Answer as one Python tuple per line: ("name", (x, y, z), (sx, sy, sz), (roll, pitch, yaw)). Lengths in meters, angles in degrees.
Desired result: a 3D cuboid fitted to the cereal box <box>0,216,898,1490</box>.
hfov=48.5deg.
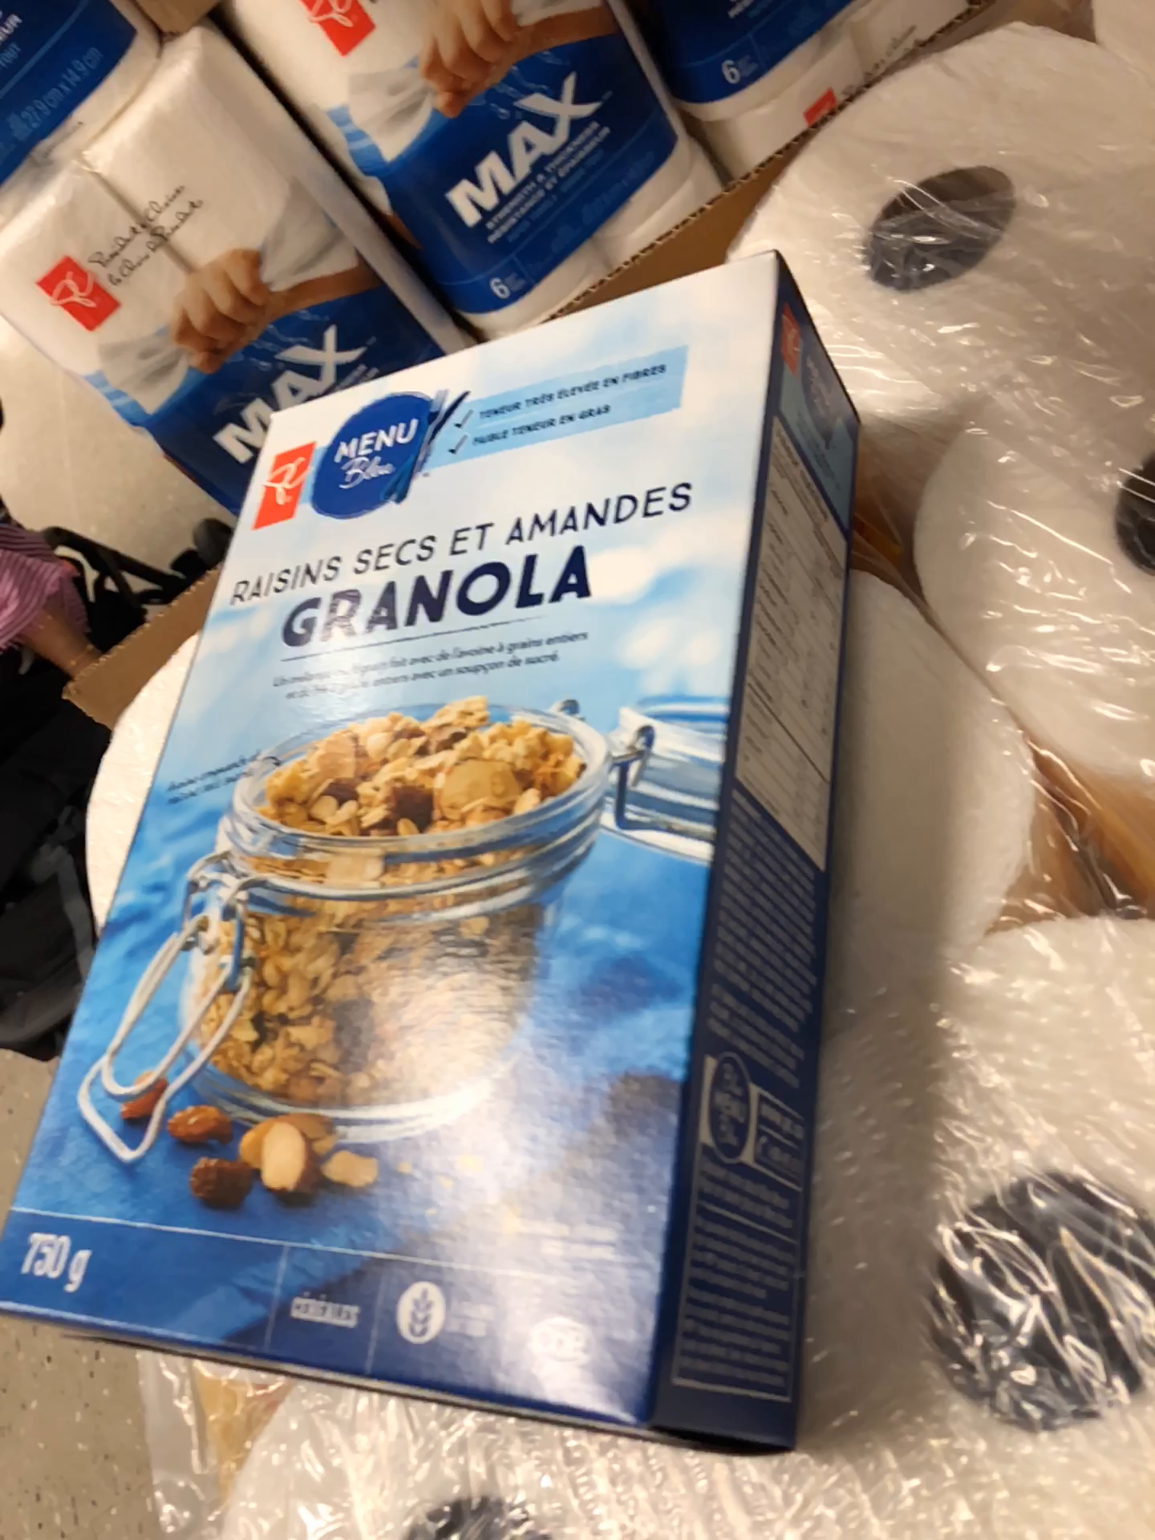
("cereal box", (-0.026, 0.008, 0.298), (0.171, 0.060, 0.250), (-6, 60, 31))
